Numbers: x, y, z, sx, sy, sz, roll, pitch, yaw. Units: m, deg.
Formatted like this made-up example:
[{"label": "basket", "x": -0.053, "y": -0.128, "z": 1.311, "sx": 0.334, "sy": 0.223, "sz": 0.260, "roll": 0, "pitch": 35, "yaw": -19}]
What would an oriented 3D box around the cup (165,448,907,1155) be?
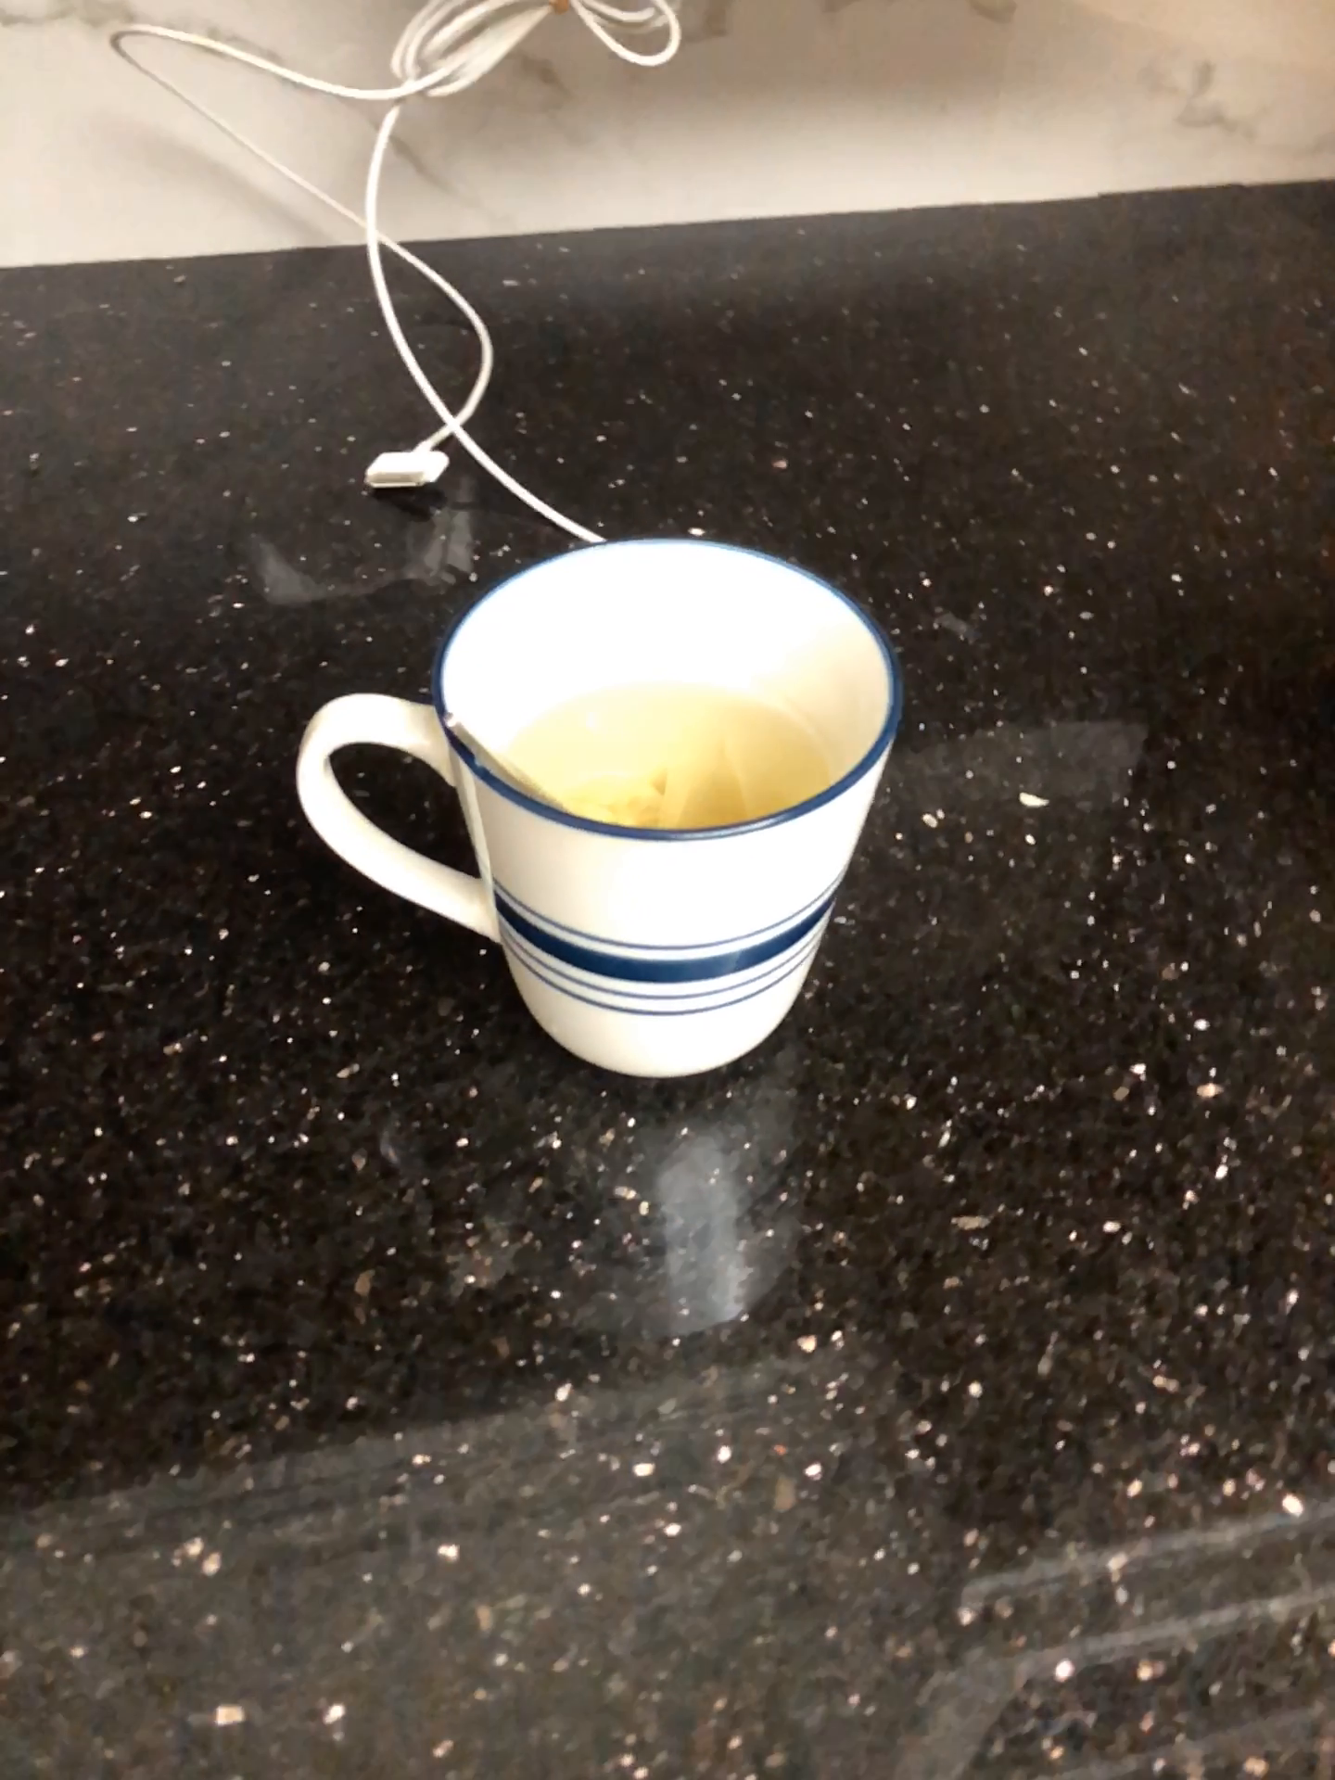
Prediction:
[{"label": "cup", "x": -0.019, "y": -0.018, "z": 0.306, "sx": 0.120, "sy": 0.099, "sz": 0.090, "roll": 7, "pitch": 49, "yaw": 4}]
